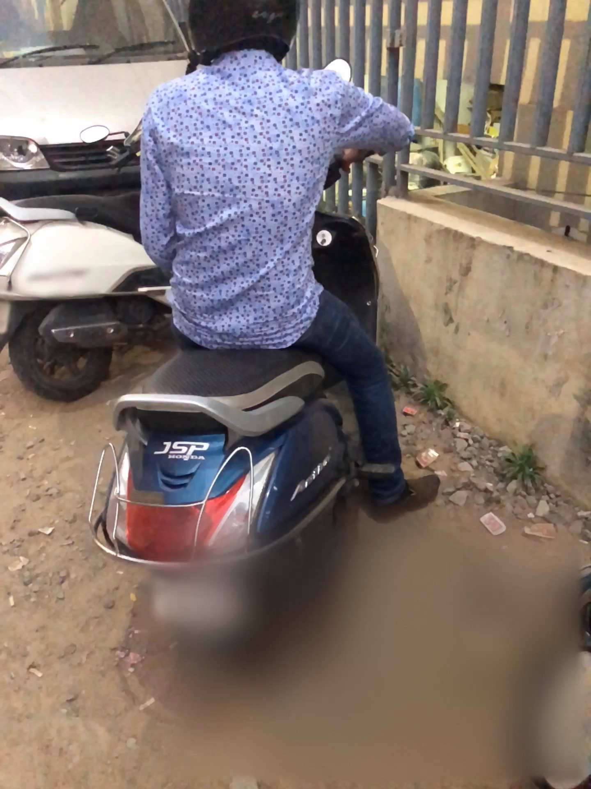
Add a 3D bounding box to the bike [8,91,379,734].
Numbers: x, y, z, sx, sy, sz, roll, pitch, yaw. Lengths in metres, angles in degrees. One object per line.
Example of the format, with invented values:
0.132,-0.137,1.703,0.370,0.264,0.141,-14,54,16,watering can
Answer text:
-0.105,-0.138,1.906,0.616,1.130,1.477,1,32,6,bike
